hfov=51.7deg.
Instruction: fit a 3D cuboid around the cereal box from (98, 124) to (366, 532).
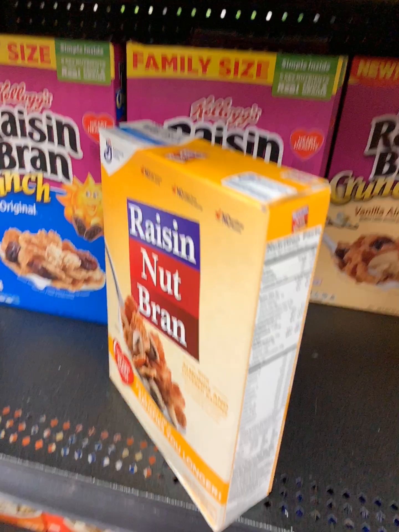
[{"bbox_3d":[-0.006,0.043,0.324,0.060,0.259,0.201,-15,34,-31],"label":"cereal box"}]
